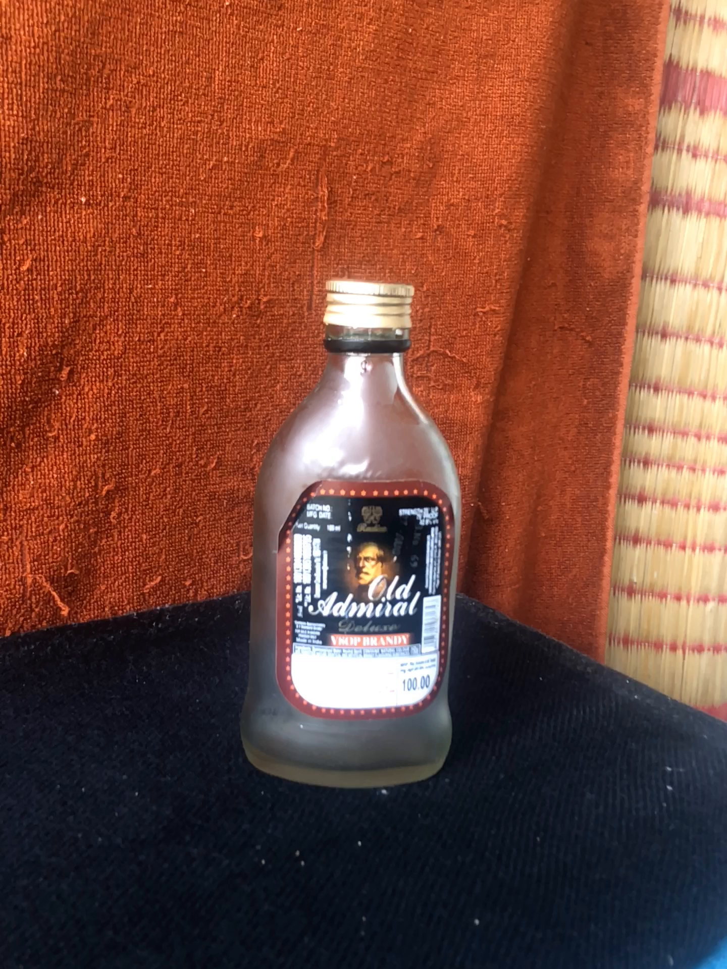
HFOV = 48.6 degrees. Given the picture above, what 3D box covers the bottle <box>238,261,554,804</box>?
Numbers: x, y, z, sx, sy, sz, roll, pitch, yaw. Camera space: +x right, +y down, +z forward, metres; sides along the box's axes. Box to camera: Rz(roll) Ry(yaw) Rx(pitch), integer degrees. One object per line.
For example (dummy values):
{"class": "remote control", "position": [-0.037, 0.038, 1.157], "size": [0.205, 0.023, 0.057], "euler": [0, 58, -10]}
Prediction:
{"class": "bottle", "position": [0.003, 0.014, 0.242], "size": [0.070, 0.149, 0.050], "euler": [4, 14, -8]}
